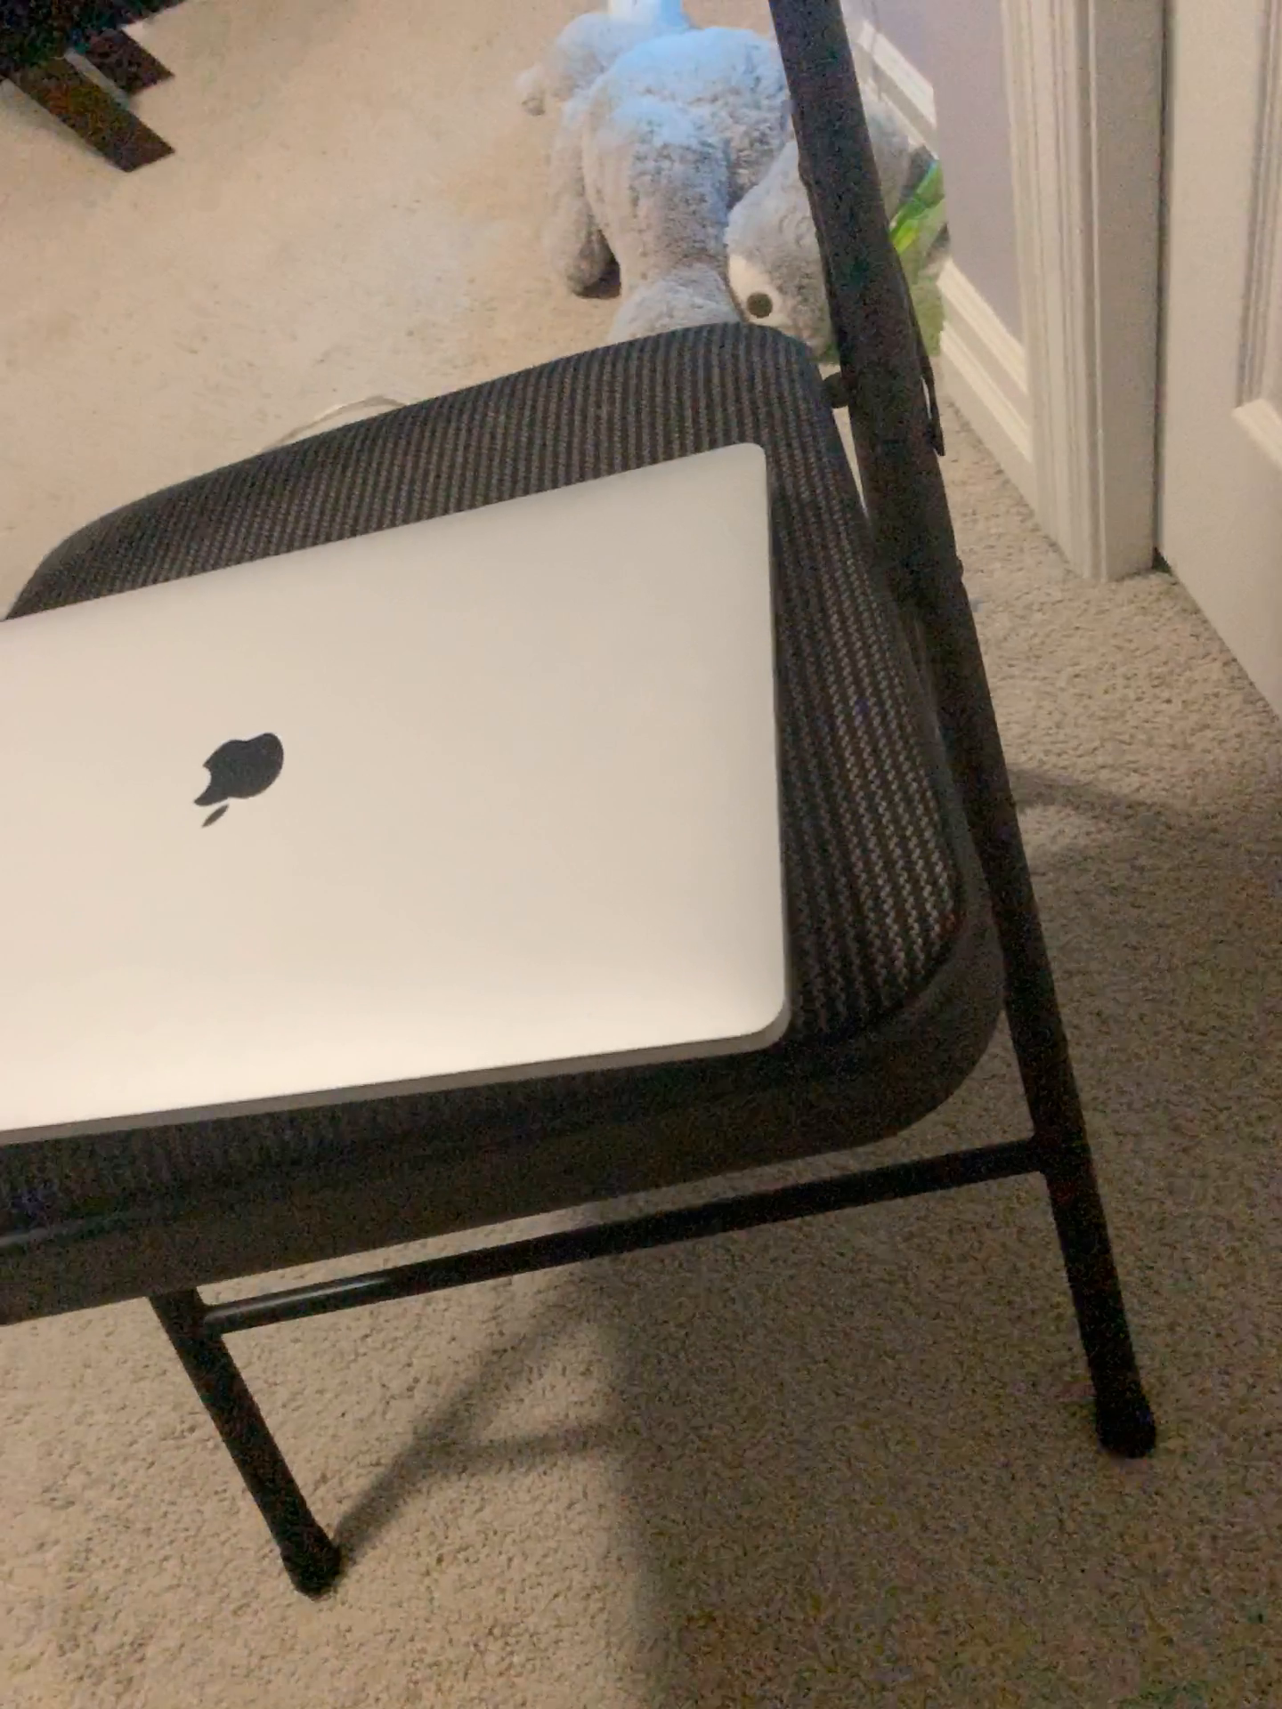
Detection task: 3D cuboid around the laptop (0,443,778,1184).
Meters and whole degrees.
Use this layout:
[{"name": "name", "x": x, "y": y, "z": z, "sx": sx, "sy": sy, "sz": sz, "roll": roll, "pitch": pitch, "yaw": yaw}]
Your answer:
[{"name": "laptop", "x": -0.126, "y": -0.020, "z": 0.409, "sx": 0.332, "sy": 0.001, "sz": 0.225, "roll": -10, "pitch": 51, "yaw": 15}]
